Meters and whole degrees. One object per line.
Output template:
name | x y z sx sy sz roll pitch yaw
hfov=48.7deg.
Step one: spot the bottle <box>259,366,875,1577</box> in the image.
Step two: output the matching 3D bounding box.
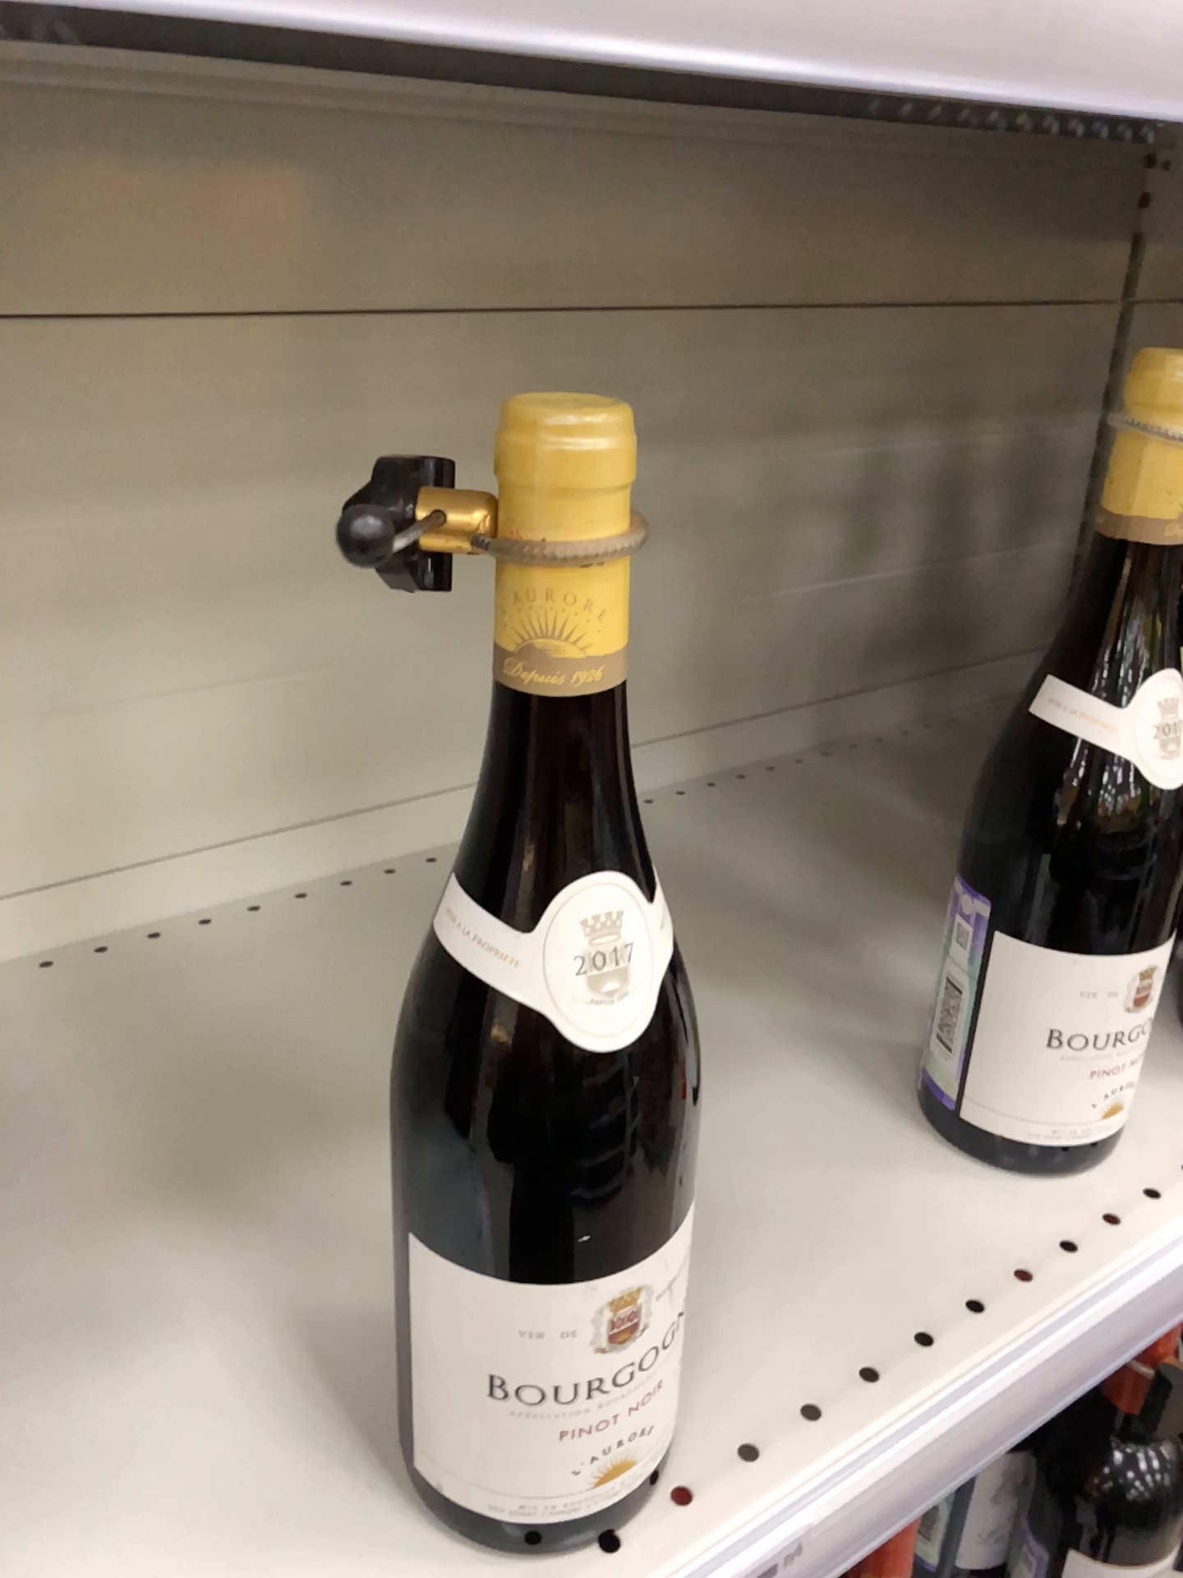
bottle | -0.013 0.054 0.319 0.090 0.288 0.090 2 24 -1
